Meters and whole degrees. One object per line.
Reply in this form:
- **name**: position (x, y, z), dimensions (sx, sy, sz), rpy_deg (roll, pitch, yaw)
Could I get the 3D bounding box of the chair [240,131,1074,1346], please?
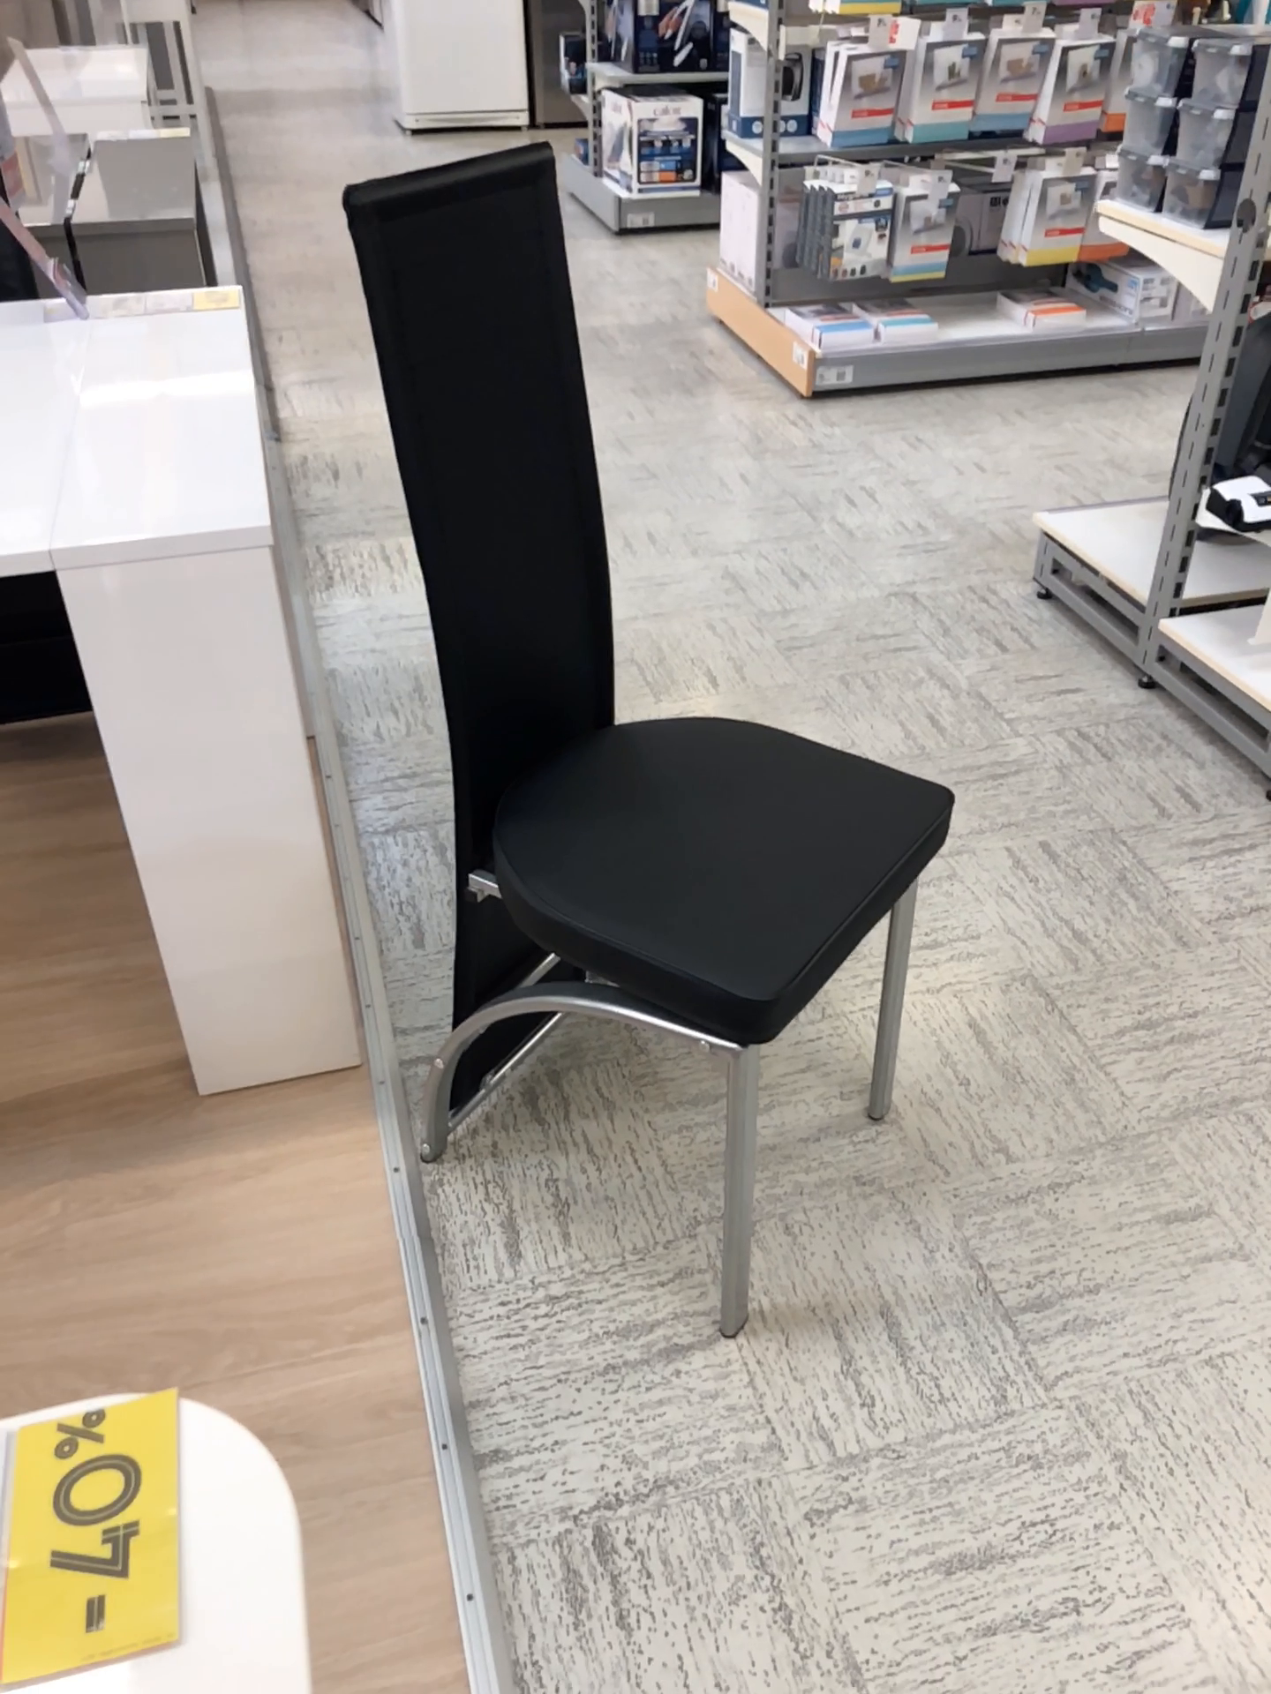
- **chair**: position (0.034, -0.096, 1.381), dimensions (0.490, 1.014, 0.453), rpy_deg (20, 40, 27)
